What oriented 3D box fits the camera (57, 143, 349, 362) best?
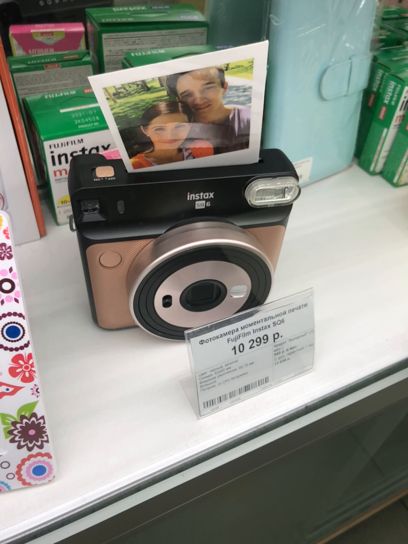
[{"bbox_3d":[-0.006,-0.011,0.271,0.140,0.104,0.060,-7,48,-12],"label":"camera"}]
